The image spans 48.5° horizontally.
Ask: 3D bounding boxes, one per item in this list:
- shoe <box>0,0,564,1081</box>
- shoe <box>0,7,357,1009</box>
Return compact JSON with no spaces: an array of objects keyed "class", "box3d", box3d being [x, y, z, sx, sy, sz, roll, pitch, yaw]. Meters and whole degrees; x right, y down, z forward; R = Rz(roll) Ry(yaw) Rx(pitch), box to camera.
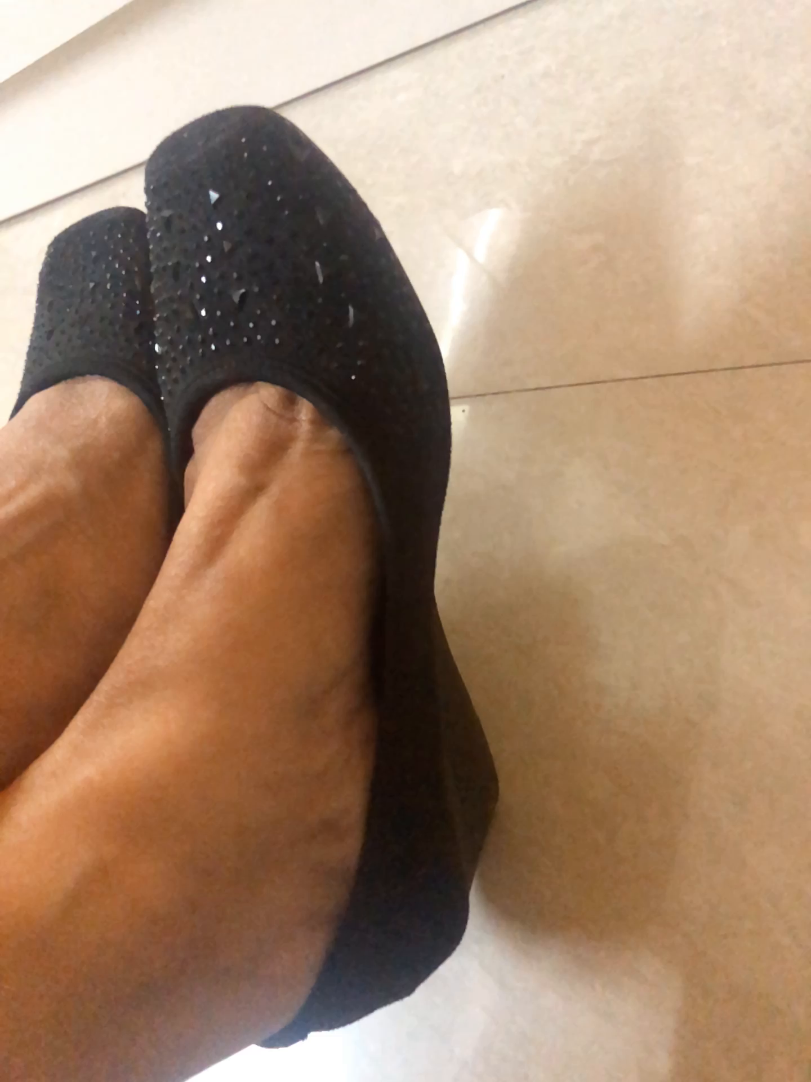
[{"class":"shoe","box3d":[-0.032,0.008,0.238,0.100,0.070,0.240,0,103,39]},{"class":"shoe","box3d":[-0.097,-0.005,0.294,0.100,0.070,0.270,-9,89,28]}]
